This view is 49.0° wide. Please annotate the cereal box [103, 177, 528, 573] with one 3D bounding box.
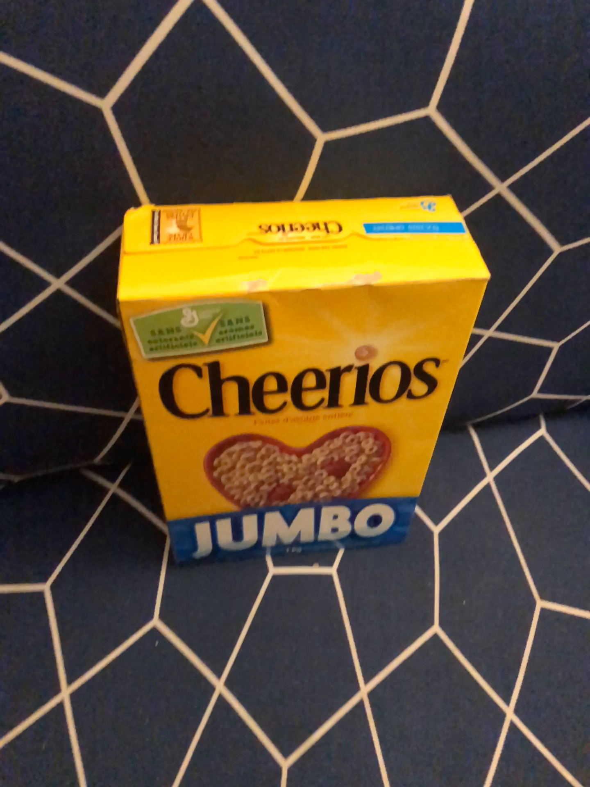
[{"bbox_3d":[0.002,0.008,0.448,0.210,0.289,0.080,-5,48,-8],"label":"cereal box"}]
